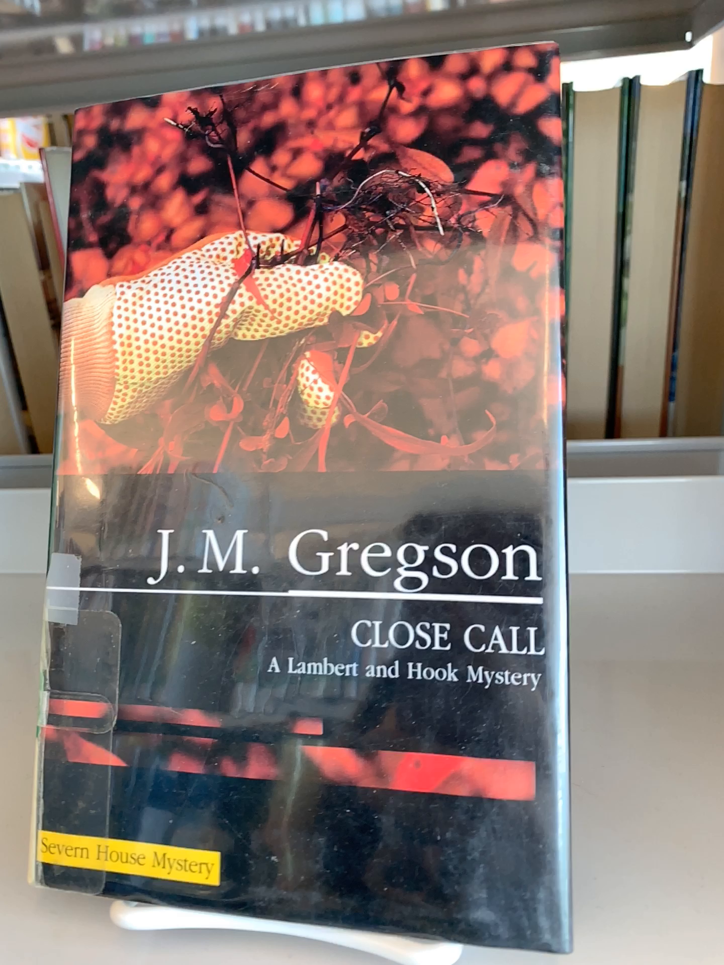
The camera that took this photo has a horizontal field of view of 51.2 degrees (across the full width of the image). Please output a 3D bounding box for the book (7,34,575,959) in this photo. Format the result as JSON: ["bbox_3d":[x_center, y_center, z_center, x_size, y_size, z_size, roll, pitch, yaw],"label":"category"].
[{"bbox_3d":[-0.018,-0.001,0.200,0.140,0.208,0.030,-1,-5,14],"label":"book"}]
